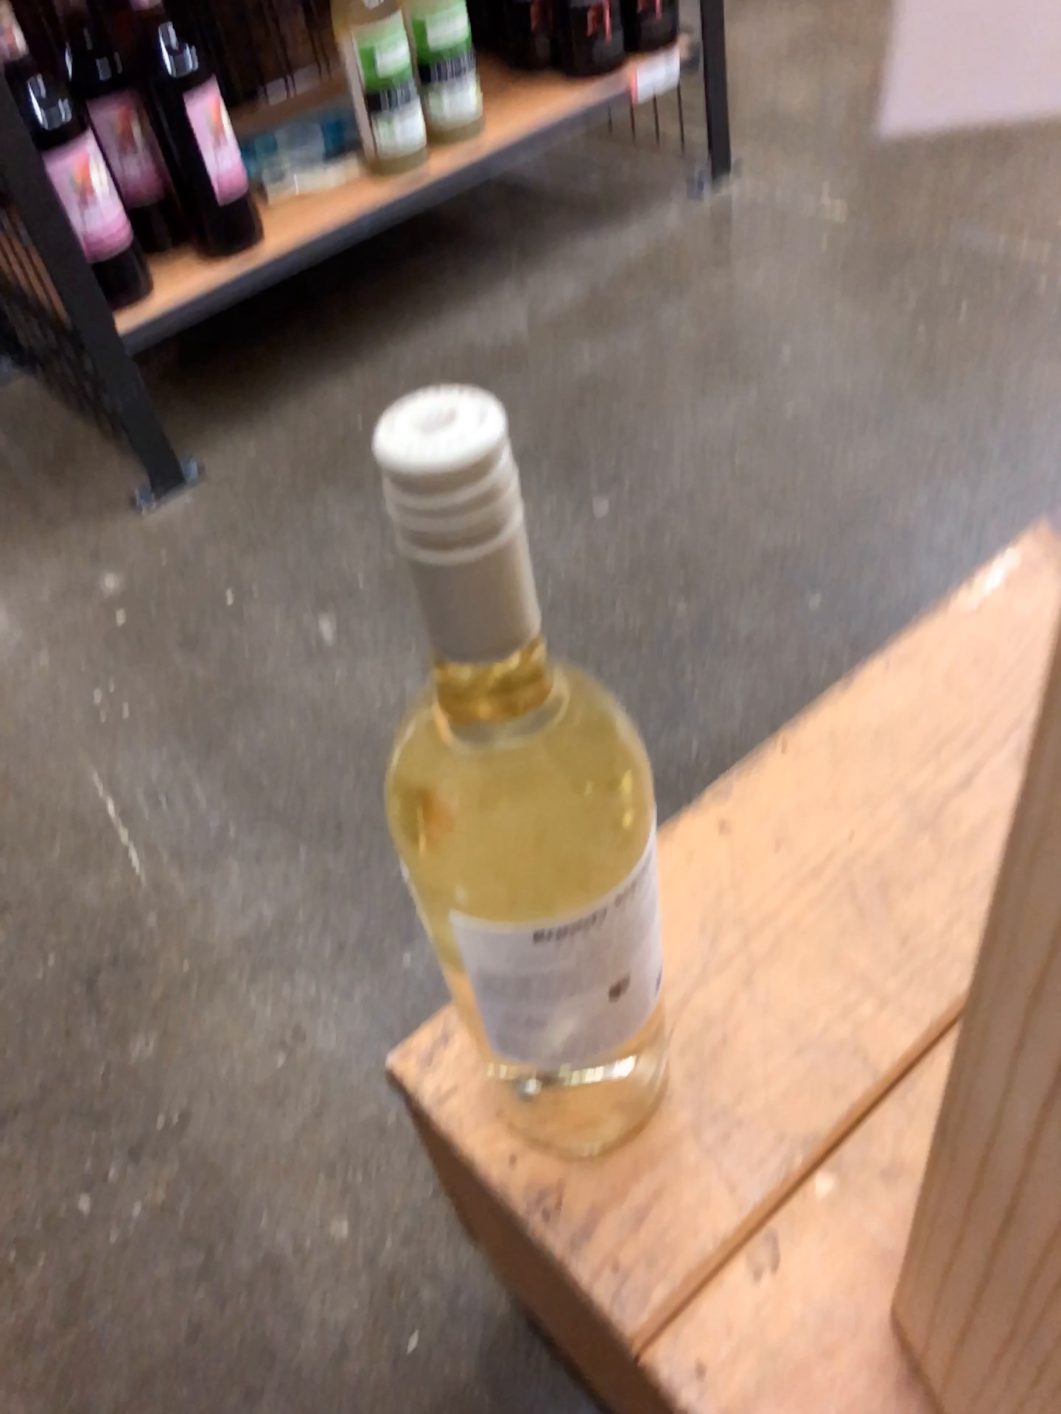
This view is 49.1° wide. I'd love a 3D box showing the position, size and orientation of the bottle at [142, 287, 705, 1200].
[{"bbox_3d":[-0.010,0.036,0.342,0.073,0.283,0.079,-6,46,6],"label":"bottle"}]
